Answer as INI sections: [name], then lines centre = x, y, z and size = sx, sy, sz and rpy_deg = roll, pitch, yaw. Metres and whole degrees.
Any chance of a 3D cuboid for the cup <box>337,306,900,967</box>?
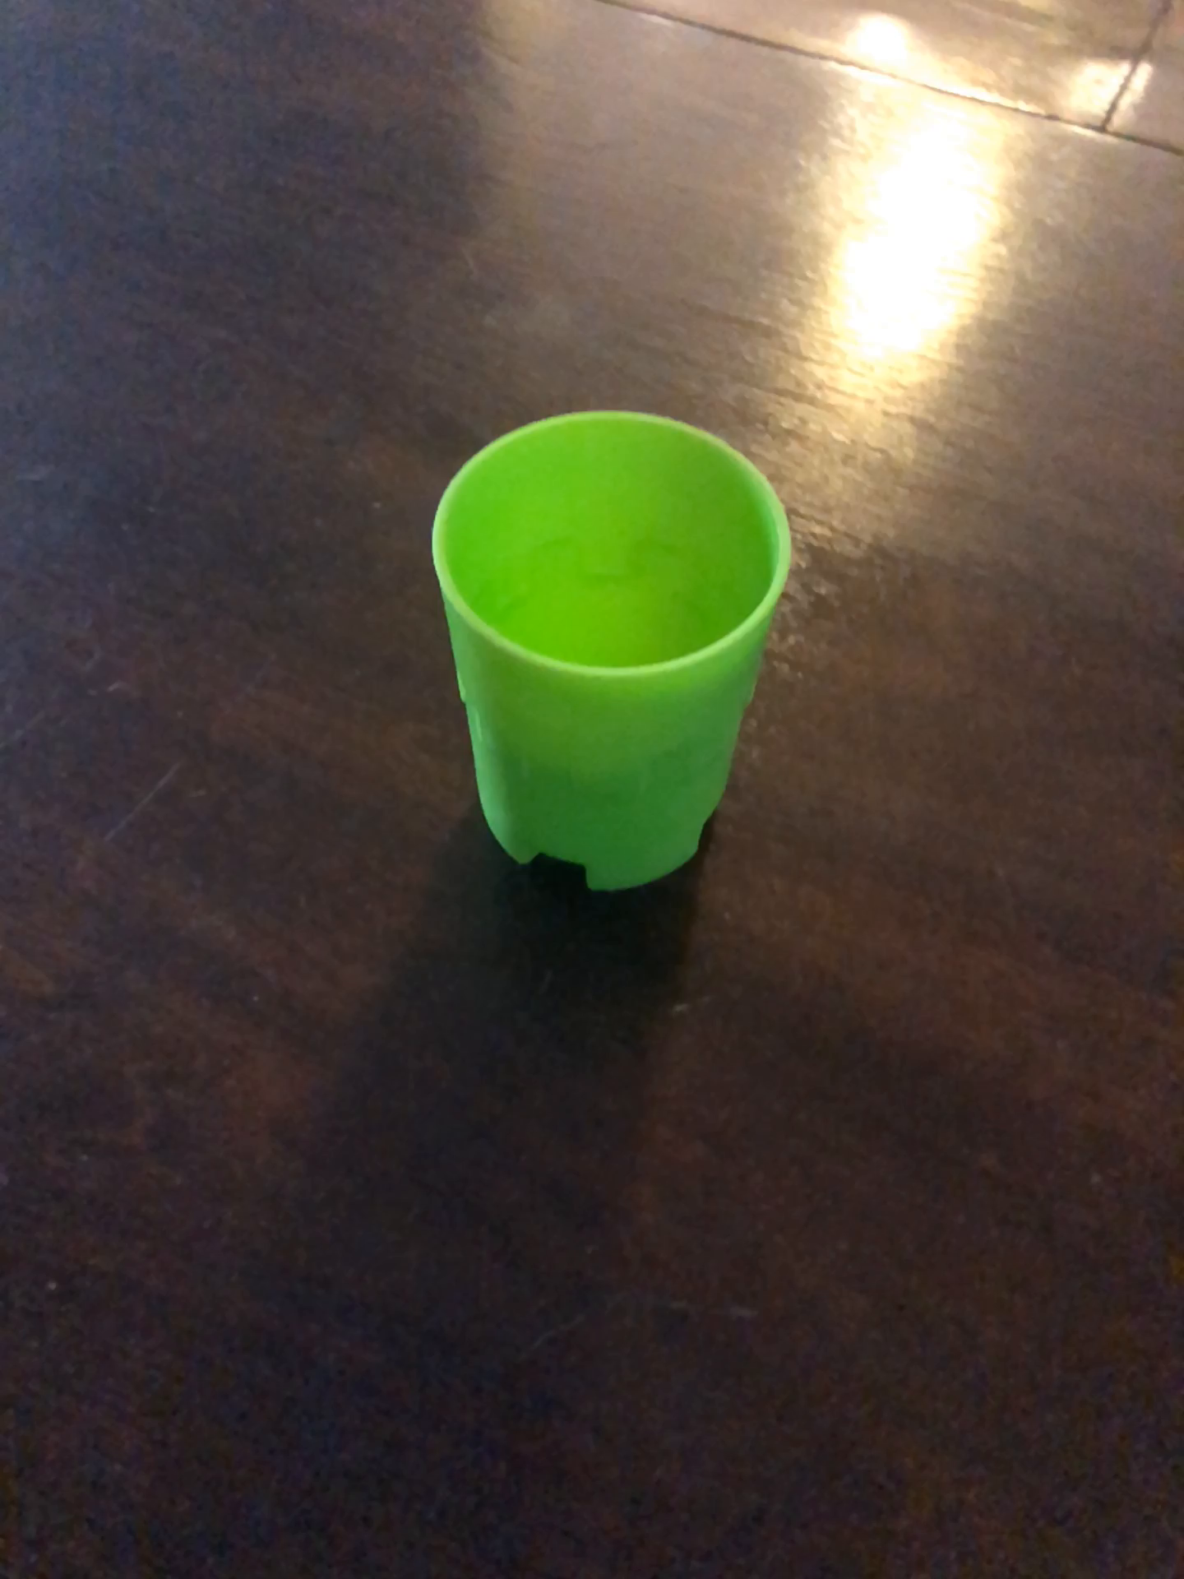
[cup]
centre = 0.004, -0.029, 0.267
size = 0.070, 0.090, 0.070
rpy_deg = 1, 56, -1
